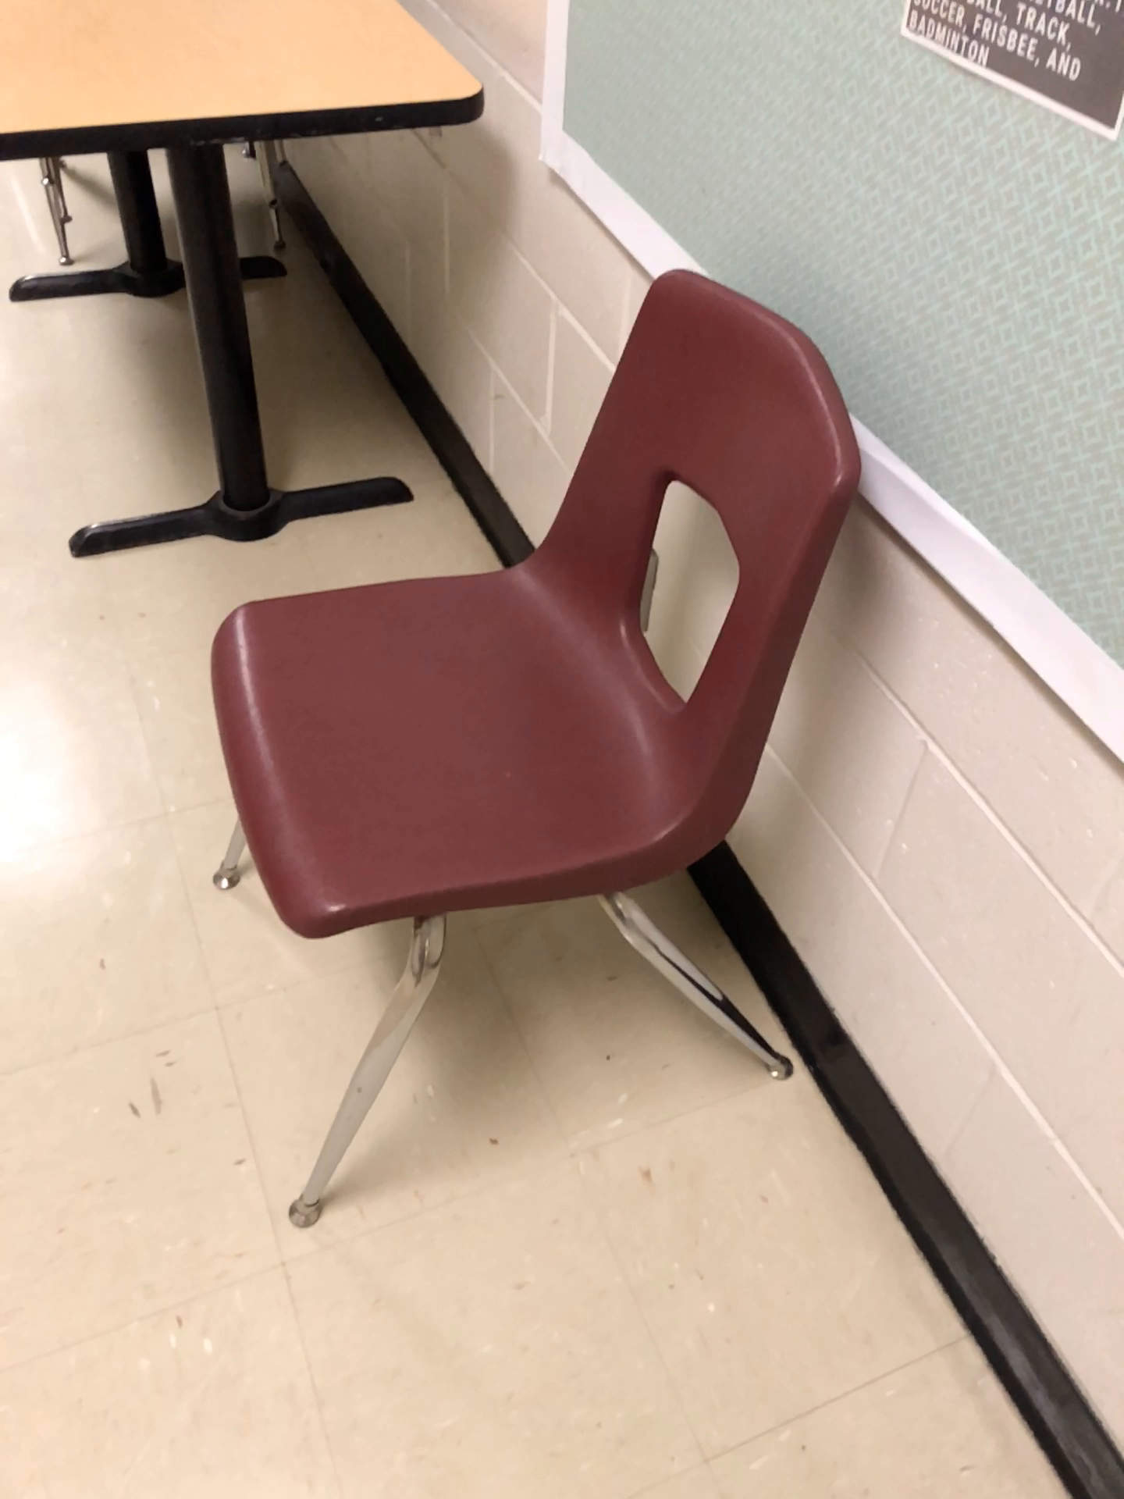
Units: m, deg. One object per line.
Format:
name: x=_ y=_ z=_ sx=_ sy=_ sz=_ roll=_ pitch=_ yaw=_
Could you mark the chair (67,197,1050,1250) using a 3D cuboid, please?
chair: x=-0.056 y=-0.019 z=1.120 sx=0.553 sy=0.707 sz=0.507 roll=-13 pitch=48 yaw=-17
